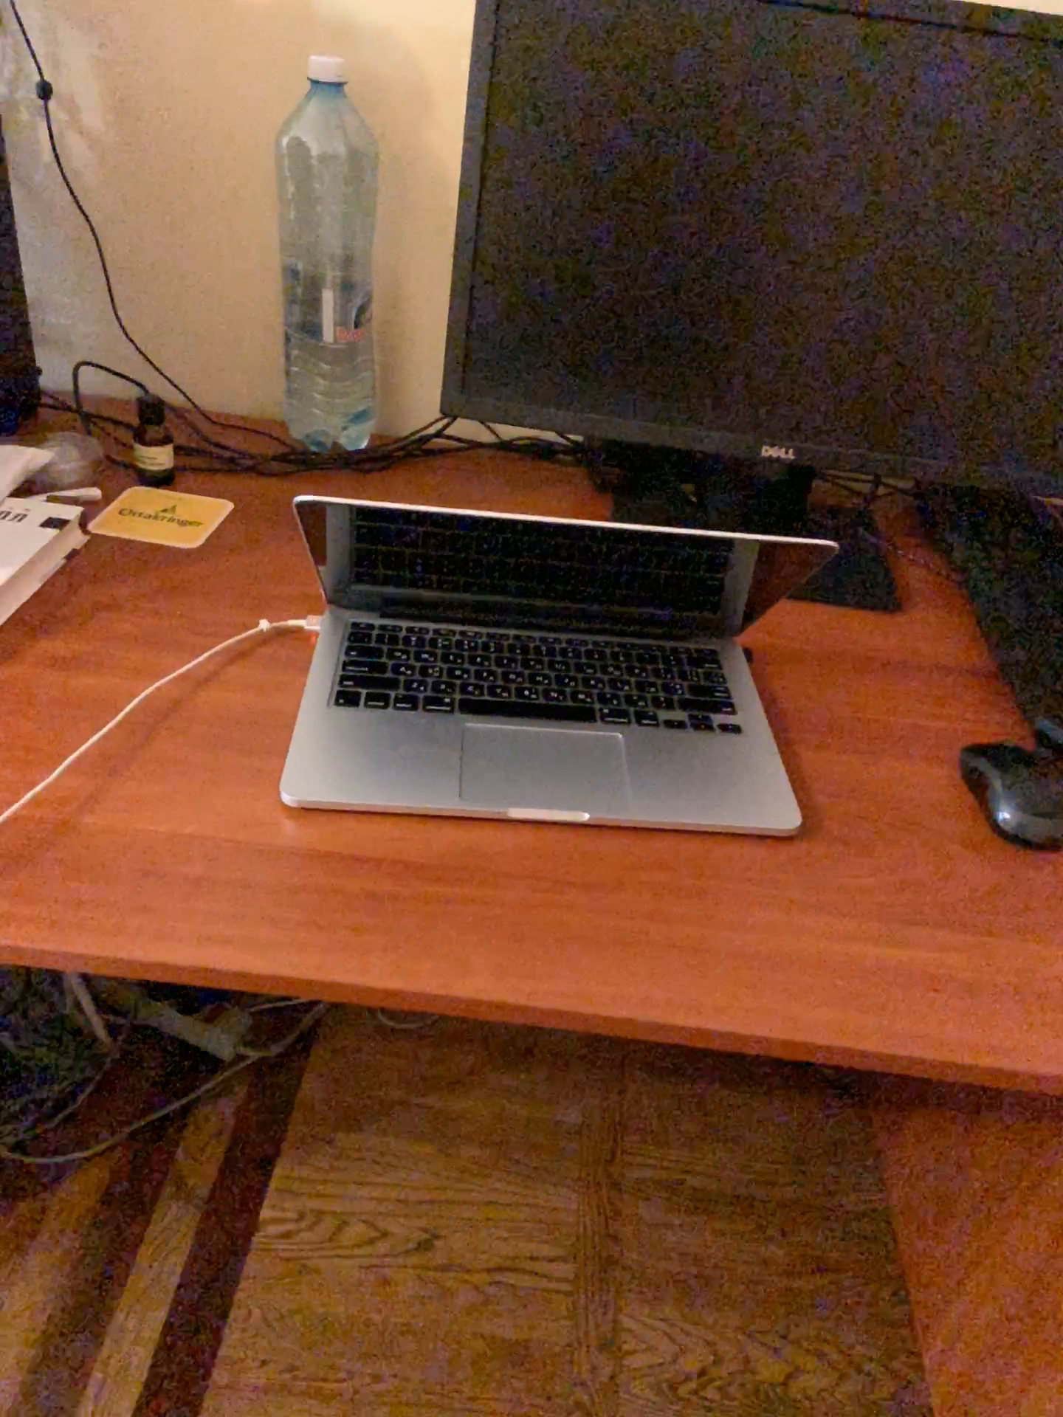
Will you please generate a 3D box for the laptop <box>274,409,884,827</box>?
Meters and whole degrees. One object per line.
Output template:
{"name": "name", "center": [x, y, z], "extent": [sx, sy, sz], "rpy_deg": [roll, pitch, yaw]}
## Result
{"name": "laptop", "center": [0.016, -0.061, 0.659], "extent": [0.306, 0.148, 0.205], "rpy_deg": [4, 35, -5]}
